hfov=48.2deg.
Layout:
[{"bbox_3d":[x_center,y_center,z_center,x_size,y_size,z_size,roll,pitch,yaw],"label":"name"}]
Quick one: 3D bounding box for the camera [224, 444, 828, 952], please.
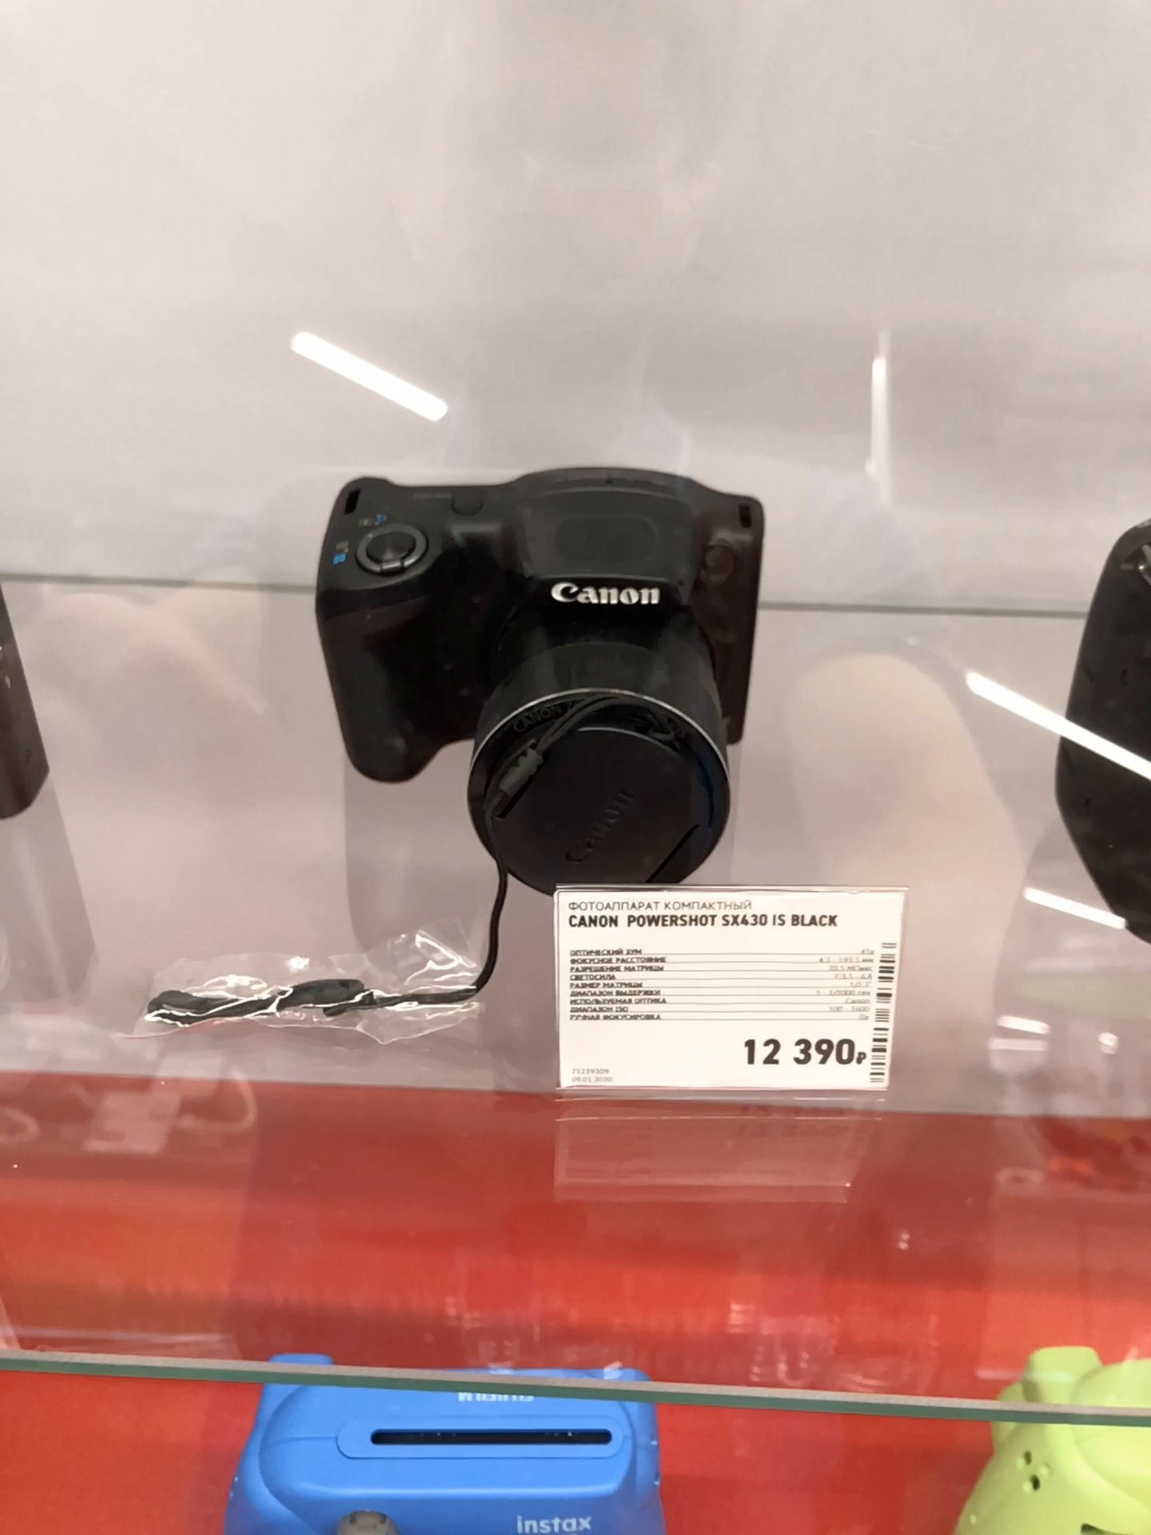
[{"bbox_3d":[-0.008,-0.019,0.297,0.113,0.080,0.086,2,35,2],"label":"camera"}]
